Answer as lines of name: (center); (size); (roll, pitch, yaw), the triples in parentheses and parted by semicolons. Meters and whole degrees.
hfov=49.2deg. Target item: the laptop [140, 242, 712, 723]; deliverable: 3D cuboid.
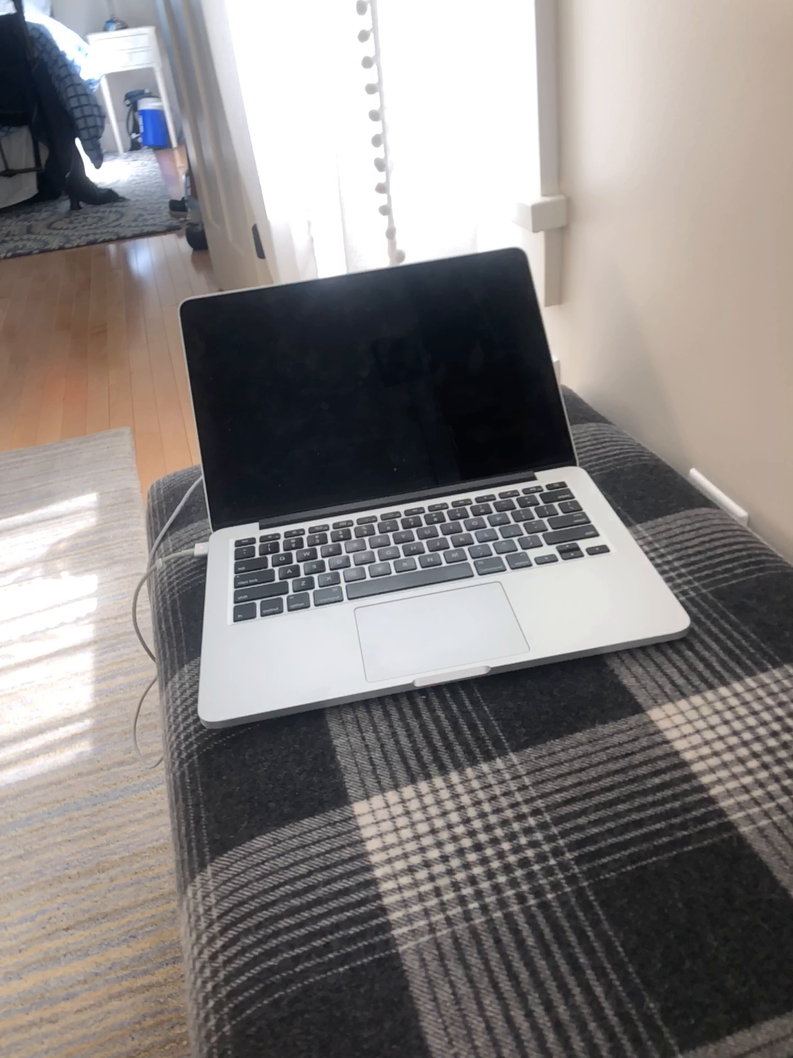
laptop: (0.001, -0.070, 0.644); (0.306, 0.142, 0.368); (-10, 33, -3)
